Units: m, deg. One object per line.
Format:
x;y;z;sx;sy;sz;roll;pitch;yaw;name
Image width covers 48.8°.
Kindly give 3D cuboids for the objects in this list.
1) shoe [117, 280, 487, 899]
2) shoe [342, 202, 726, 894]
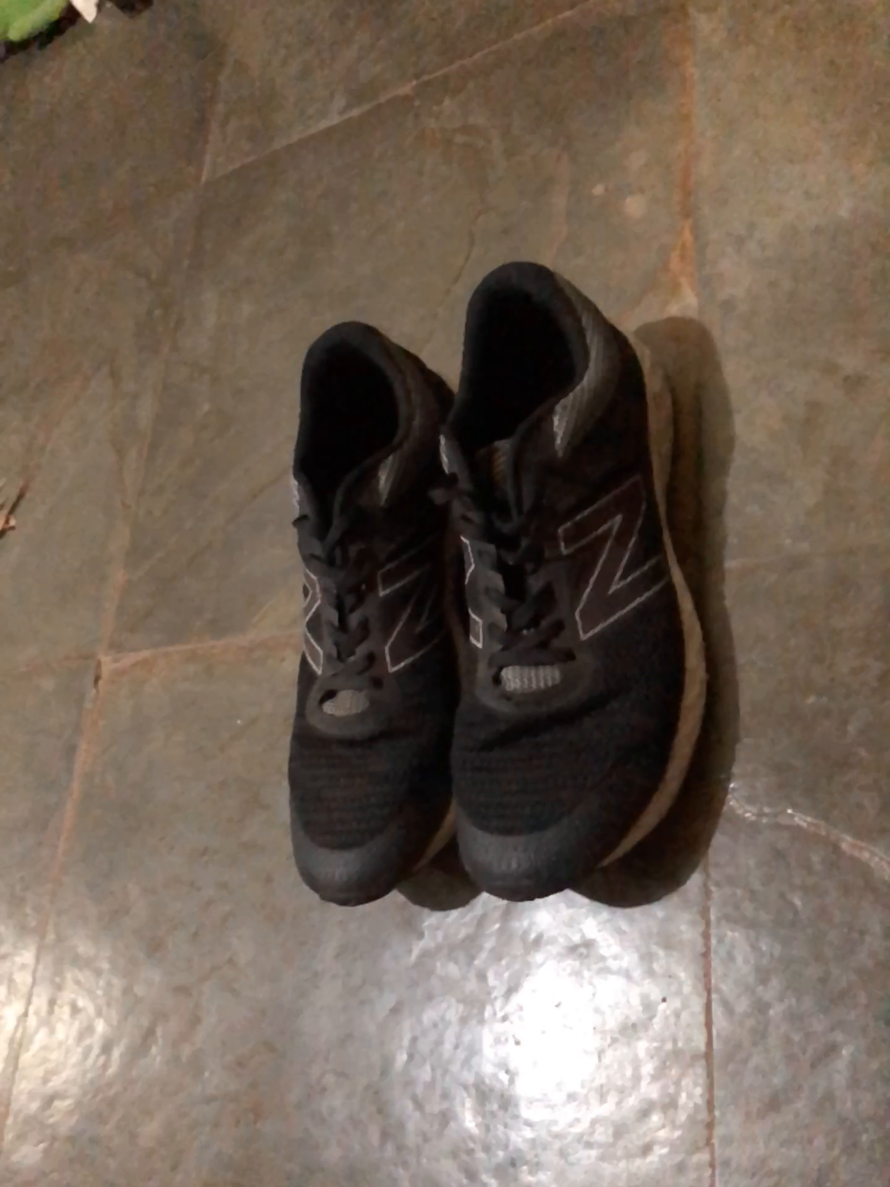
-0.057;0.003;0.470;0.120;0.100;0.261;-13;63;29;shoe
0.038;-0.015;0.419;0.110;0.100;0.261;-13;63;29;shoe
